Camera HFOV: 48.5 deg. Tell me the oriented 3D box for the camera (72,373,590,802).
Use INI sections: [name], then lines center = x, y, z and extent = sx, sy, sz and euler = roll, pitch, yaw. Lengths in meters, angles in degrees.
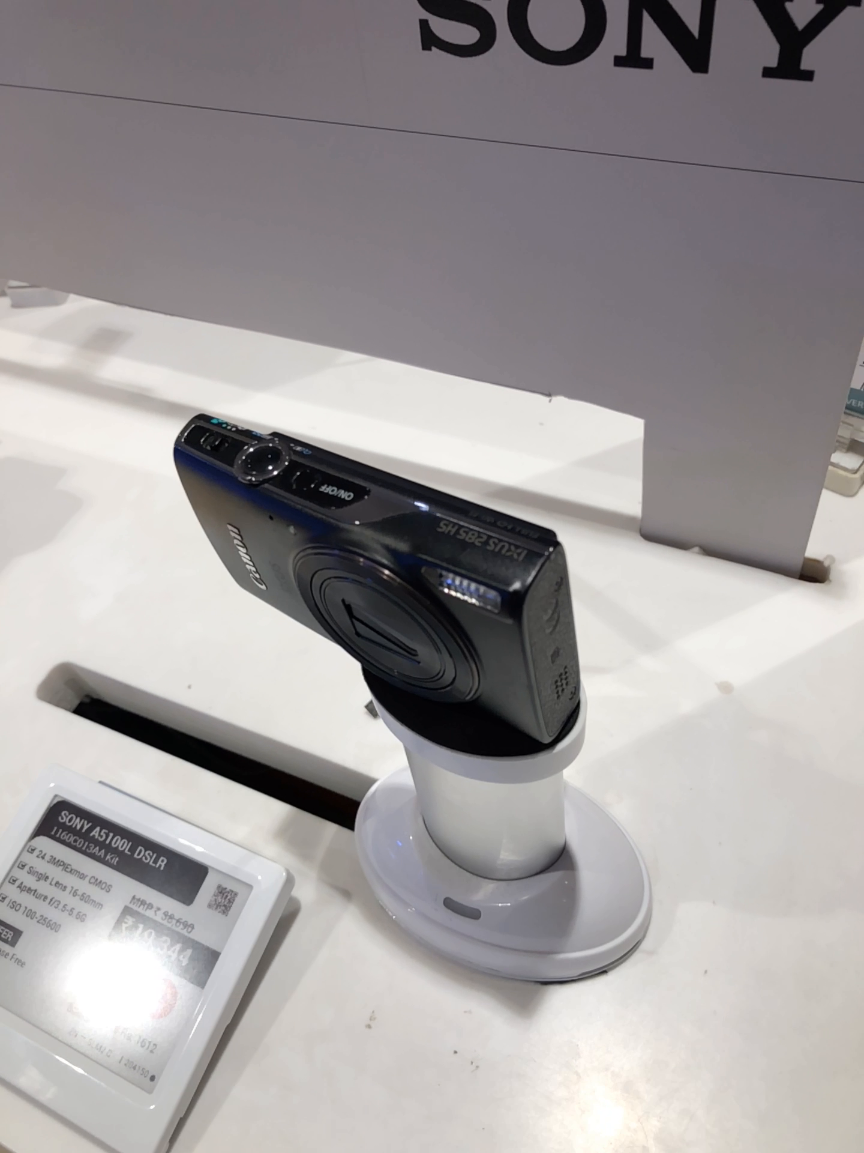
[camera]
center = -0.021, 0.001, 0.217
extent = 0.110, 0.060, 0.030
euler = 23, 58, 25
